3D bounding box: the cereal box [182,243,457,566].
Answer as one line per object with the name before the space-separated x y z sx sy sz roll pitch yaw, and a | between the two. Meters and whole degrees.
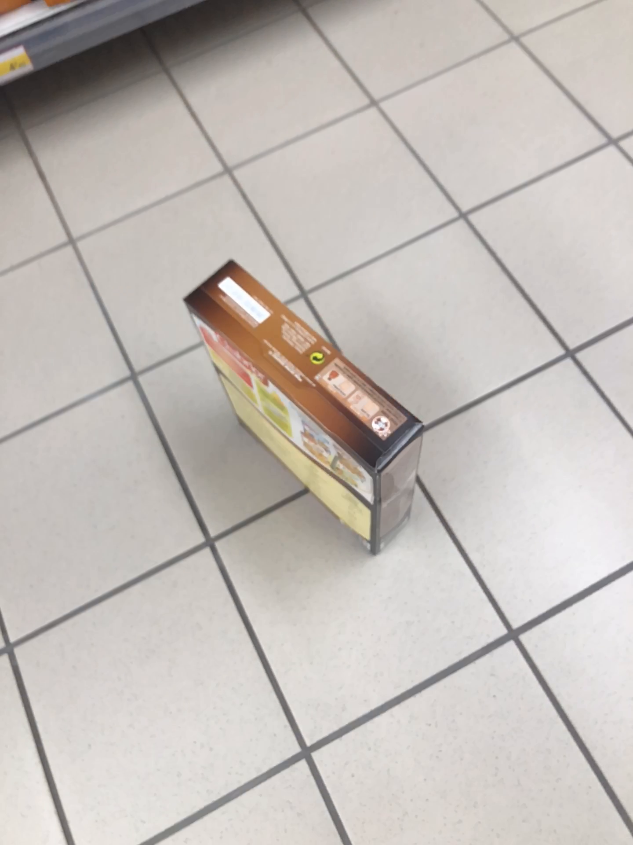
cereal box | 0.007 0.000 0.568 0.060 0.229 0.200 -43 69 -13
